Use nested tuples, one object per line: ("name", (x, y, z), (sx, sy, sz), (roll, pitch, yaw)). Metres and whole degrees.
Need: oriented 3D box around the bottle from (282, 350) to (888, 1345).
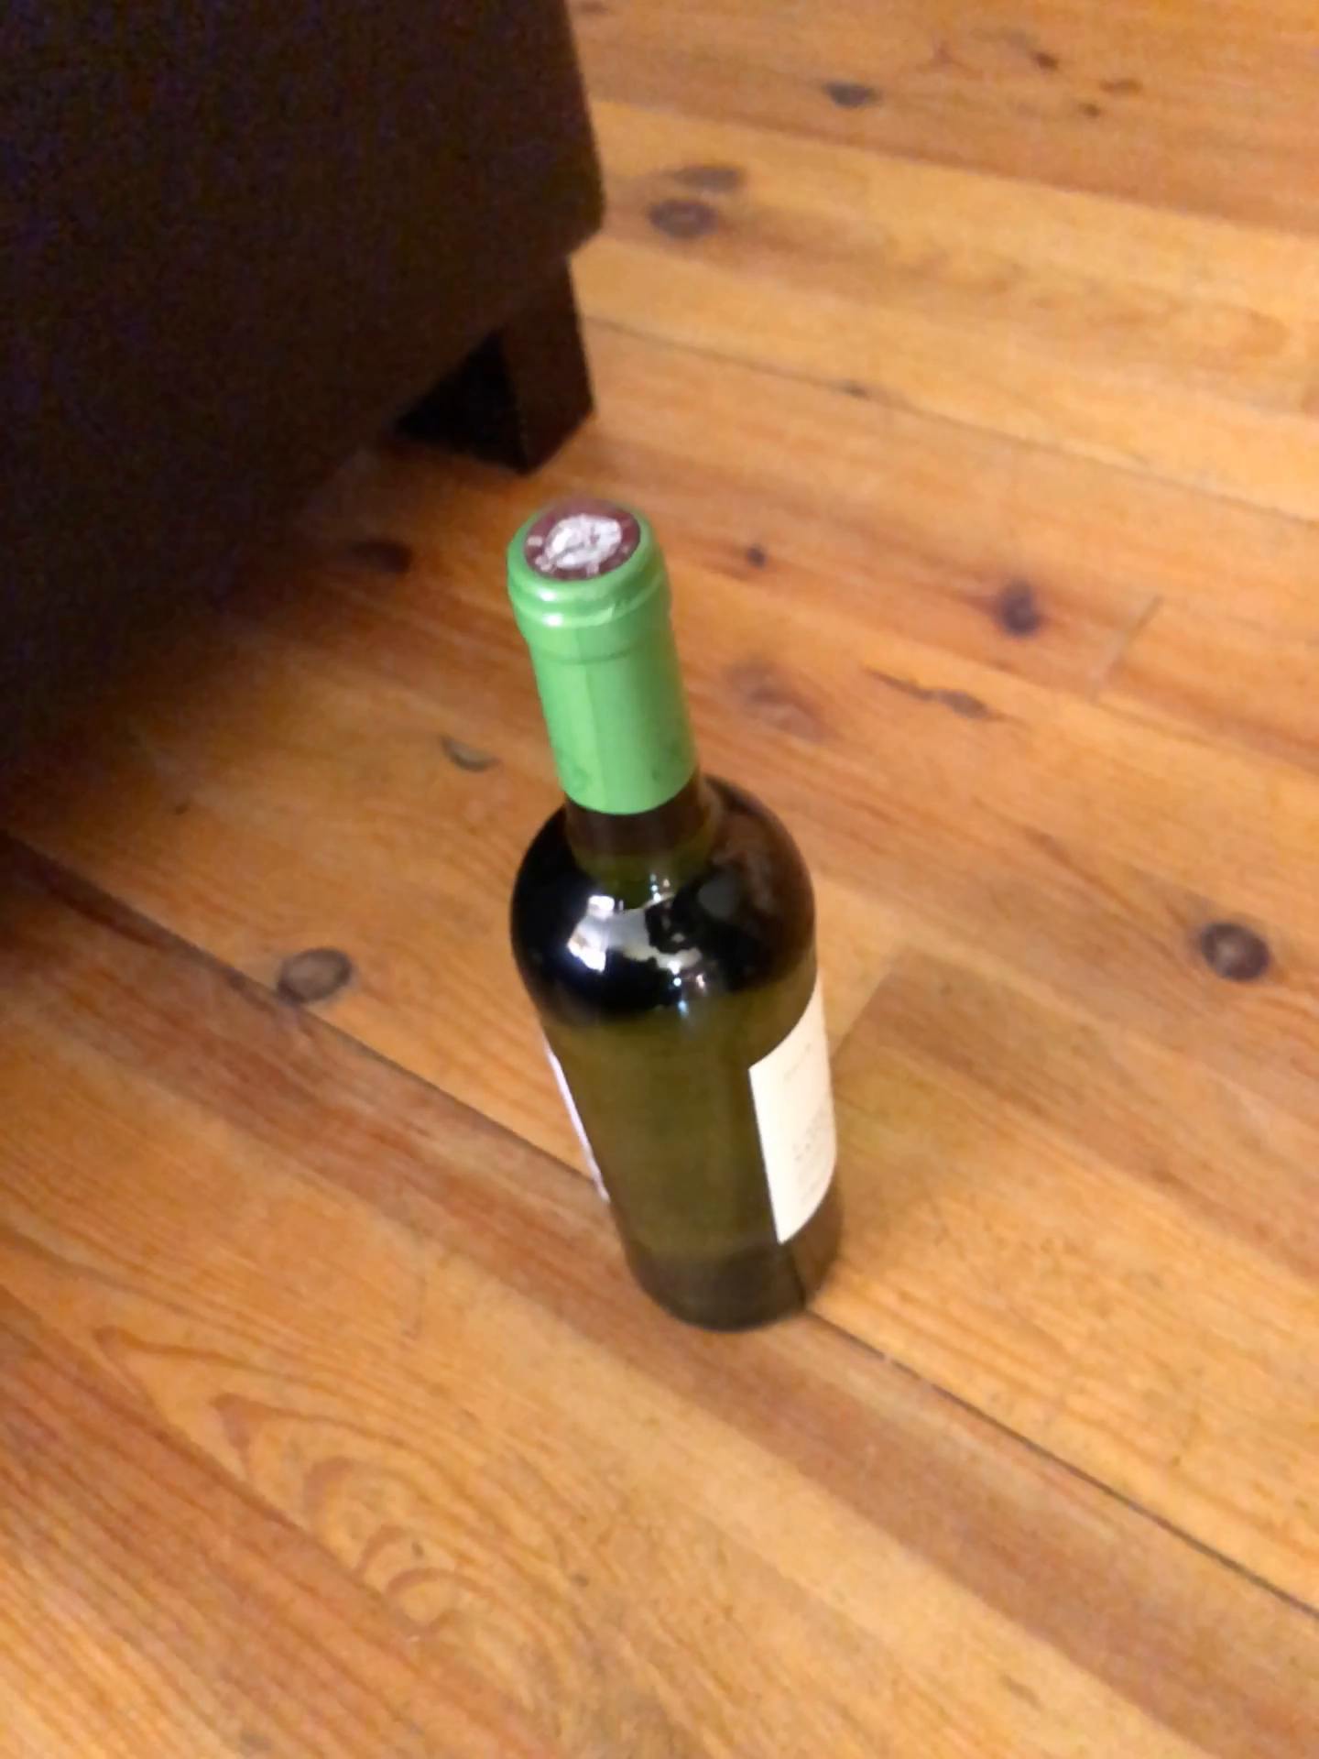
("bottle", (0.007, 0.020, 0.379), (0.080, 0.298, 0.080), (-5, 53, 7))
